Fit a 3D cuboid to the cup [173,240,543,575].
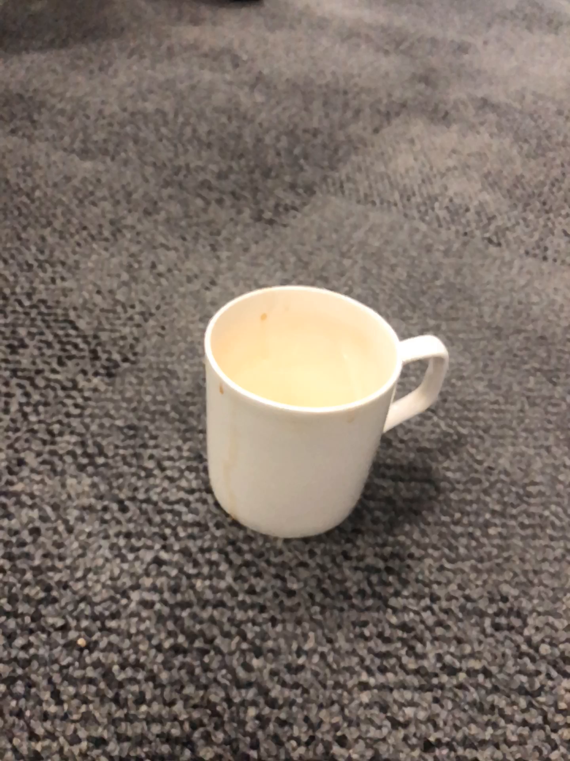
[{"bbox_3d":[0.020,0.005,0.234,0.100,0.070,0.070,-15,46,-22],"label":"cup"}]
